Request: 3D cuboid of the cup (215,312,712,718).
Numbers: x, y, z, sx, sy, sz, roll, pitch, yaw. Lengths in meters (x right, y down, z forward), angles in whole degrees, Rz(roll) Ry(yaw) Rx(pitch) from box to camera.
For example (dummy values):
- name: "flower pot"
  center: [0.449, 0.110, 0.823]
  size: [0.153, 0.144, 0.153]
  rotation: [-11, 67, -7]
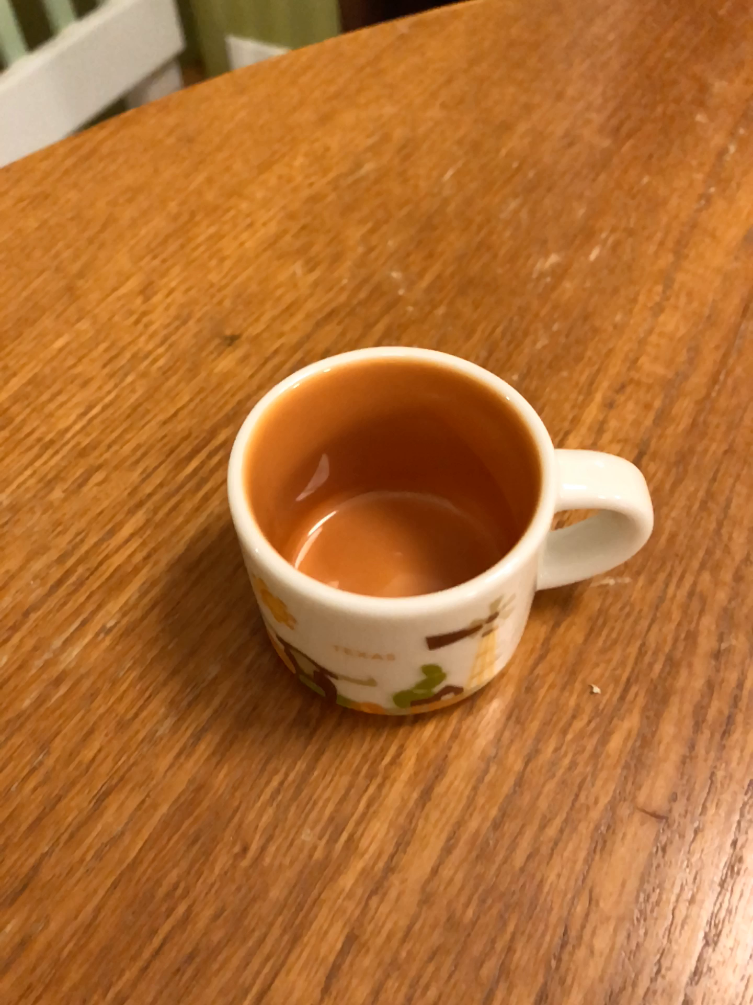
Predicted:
- name: "cup"
  center: [0.013, 0.003, 0.173]
  size: [0.080, 0.049, 0.060]
  rotation: [-5, 54, 0]
